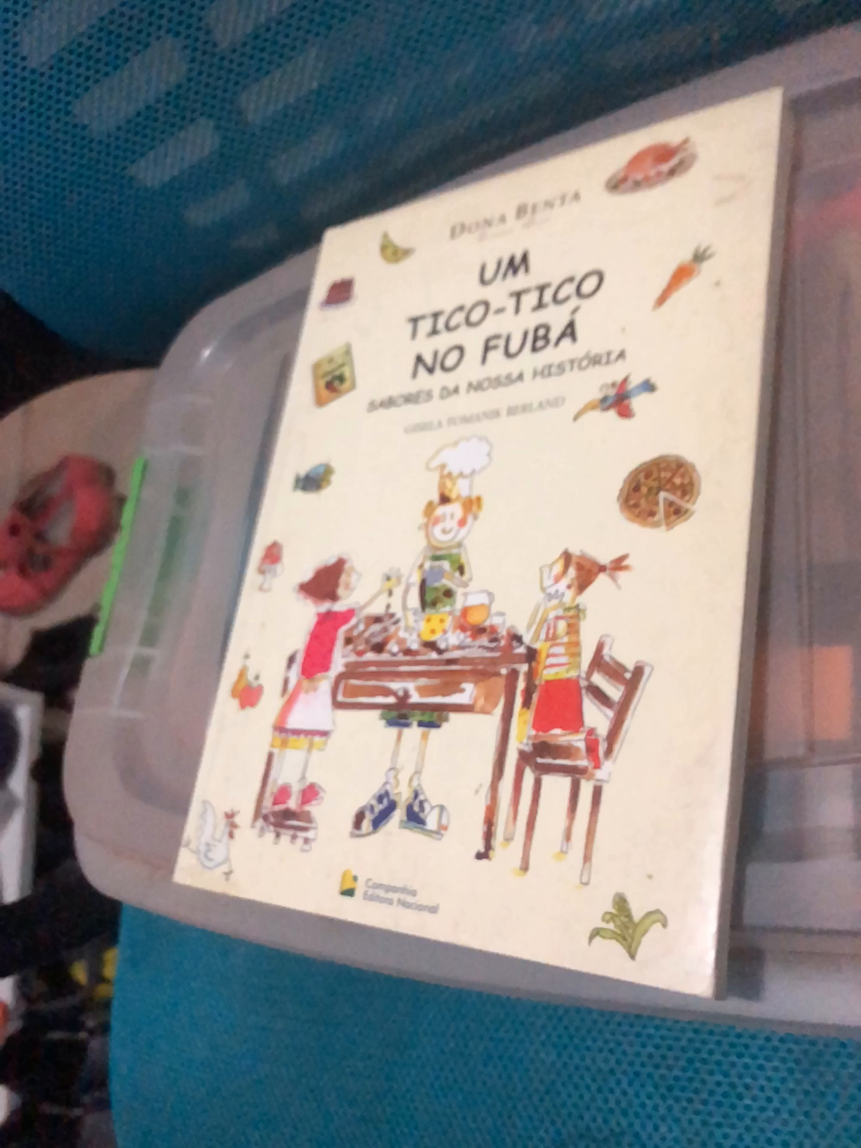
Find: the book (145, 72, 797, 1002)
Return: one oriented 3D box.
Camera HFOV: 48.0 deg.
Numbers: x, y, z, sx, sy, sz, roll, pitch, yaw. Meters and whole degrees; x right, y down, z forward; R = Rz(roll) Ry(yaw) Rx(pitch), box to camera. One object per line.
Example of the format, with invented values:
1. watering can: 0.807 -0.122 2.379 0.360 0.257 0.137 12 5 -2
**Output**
1. book: 0.010 -0.019 0.280 0.172 0.020 0.232 -3 69 34
